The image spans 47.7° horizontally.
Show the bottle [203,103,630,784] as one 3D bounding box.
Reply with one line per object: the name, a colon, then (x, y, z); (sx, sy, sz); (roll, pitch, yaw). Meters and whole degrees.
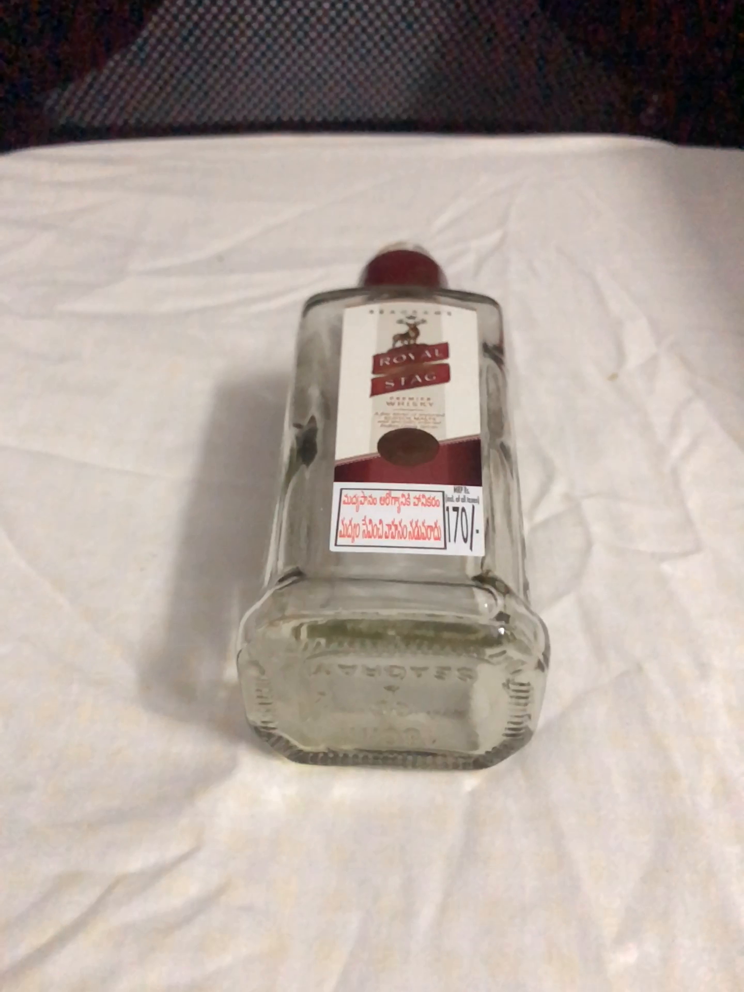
bottle: (0.009, -0.031, 0.199); (0.060, 0.050, 0.181); (3, 46, 0)
